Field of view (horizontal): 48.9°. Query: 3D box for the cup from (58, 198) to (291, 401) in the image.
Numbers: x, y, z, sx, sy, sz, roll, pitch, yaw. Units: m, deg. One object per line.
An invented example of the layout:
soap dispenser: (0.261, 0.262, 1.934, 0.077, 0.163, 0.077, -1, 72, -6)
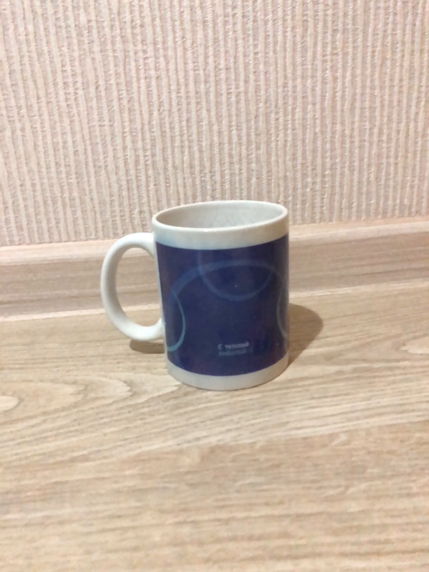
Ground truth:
cup: (-0.014, 0.001, 0.305, 0.122, 0.099, 0.094, 1, 19, 11)
